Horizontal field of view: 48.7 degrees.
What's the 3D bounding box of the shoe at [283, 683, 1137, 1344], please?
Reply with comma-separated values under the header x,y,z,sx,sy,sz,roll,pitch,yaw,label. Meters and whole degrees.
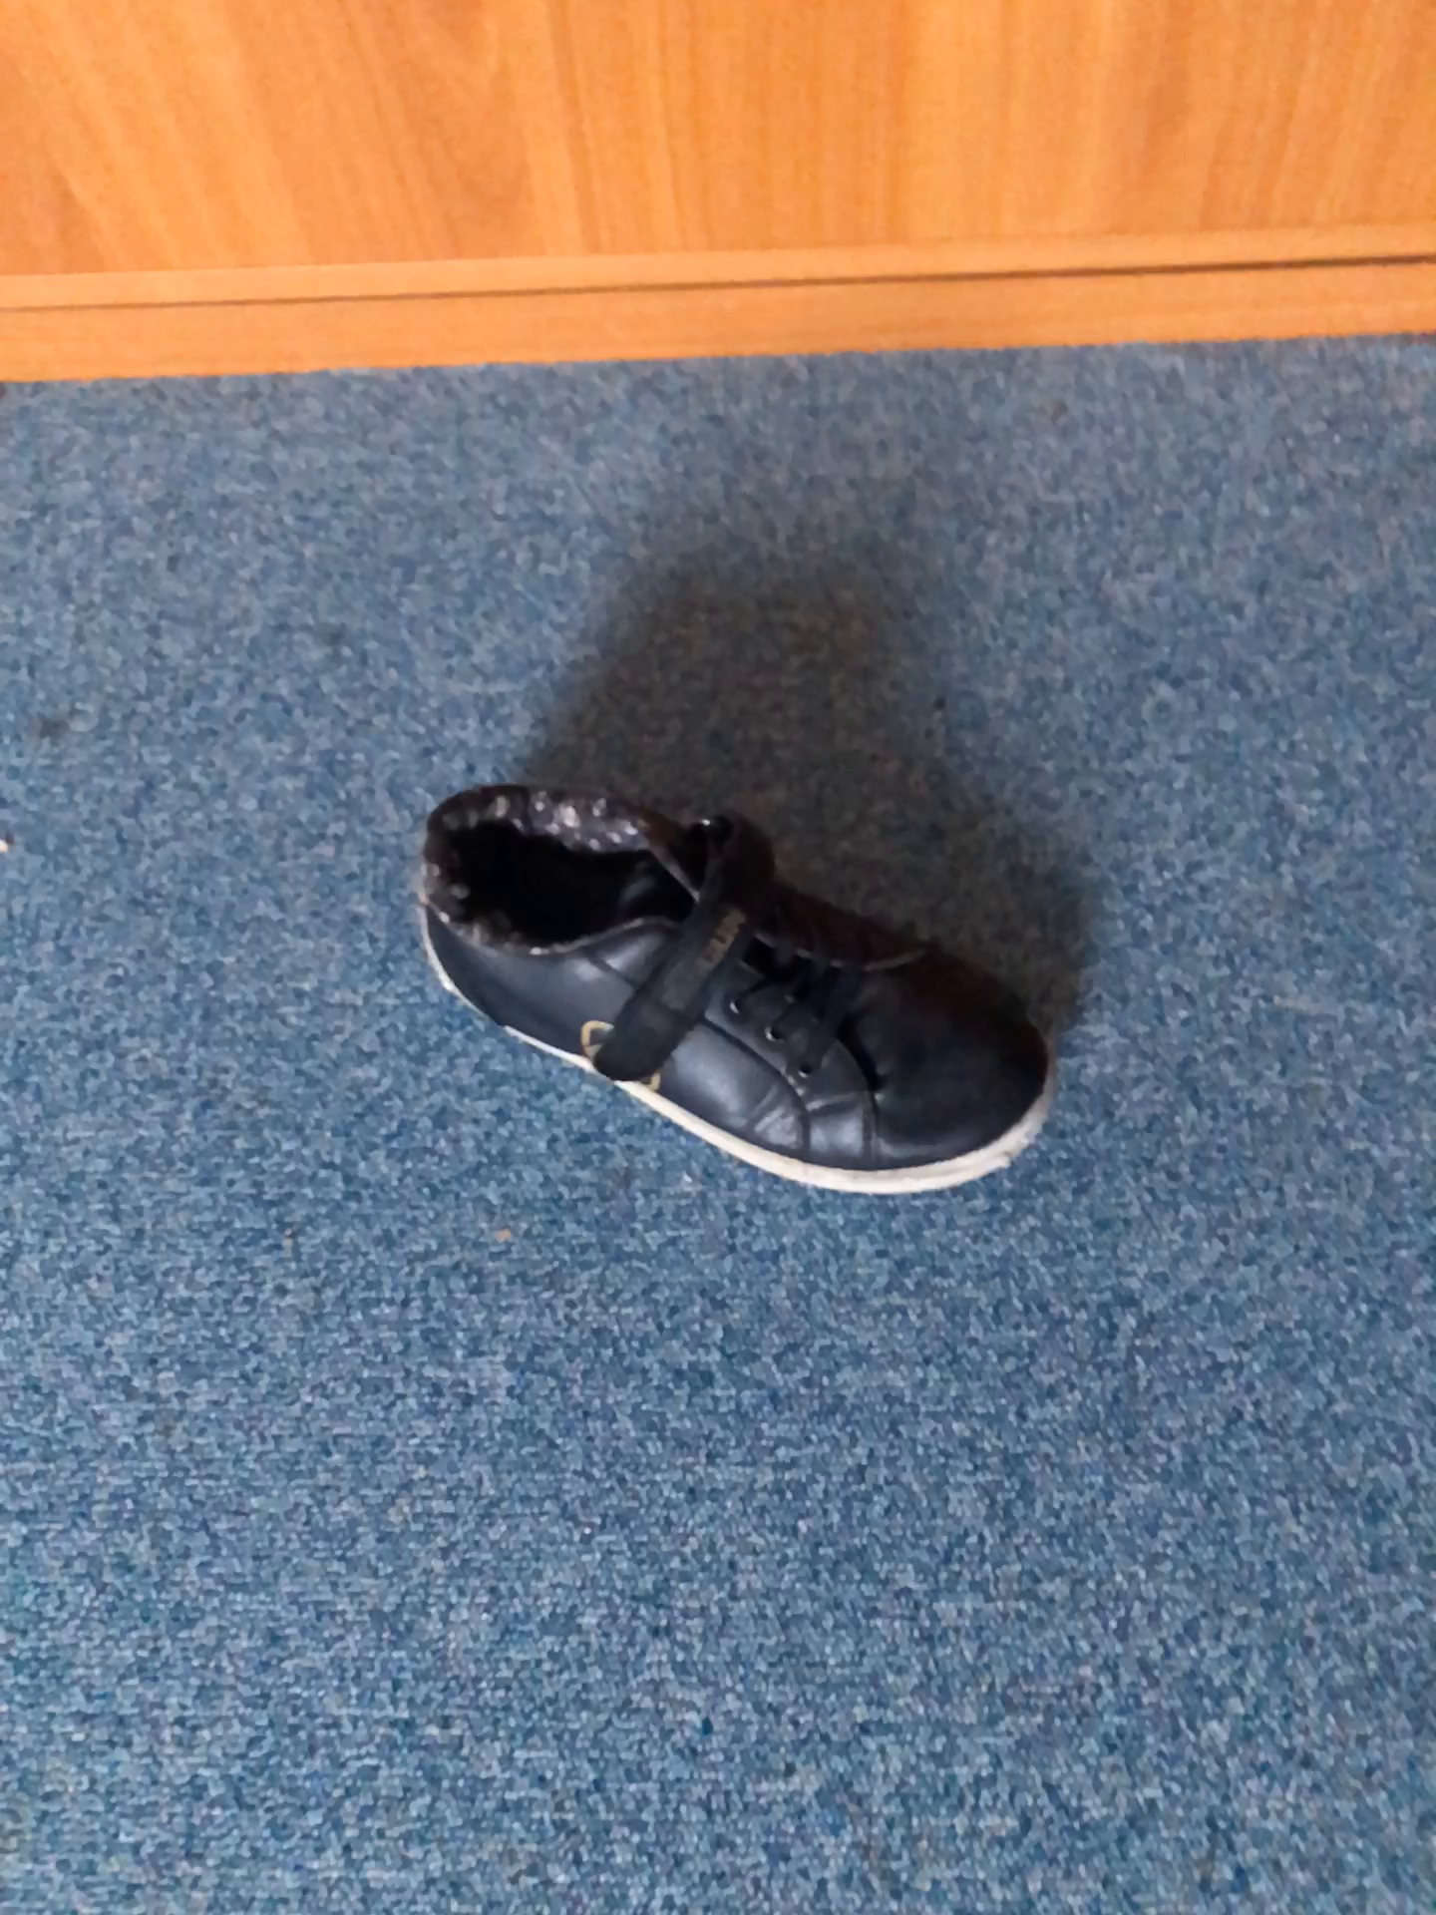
x,y,z,sx,sy,sz,roll,pitch,yaw,label
-0.001,0.016,0.513,0.230,0.090,0.110,22,66,13,shoe
